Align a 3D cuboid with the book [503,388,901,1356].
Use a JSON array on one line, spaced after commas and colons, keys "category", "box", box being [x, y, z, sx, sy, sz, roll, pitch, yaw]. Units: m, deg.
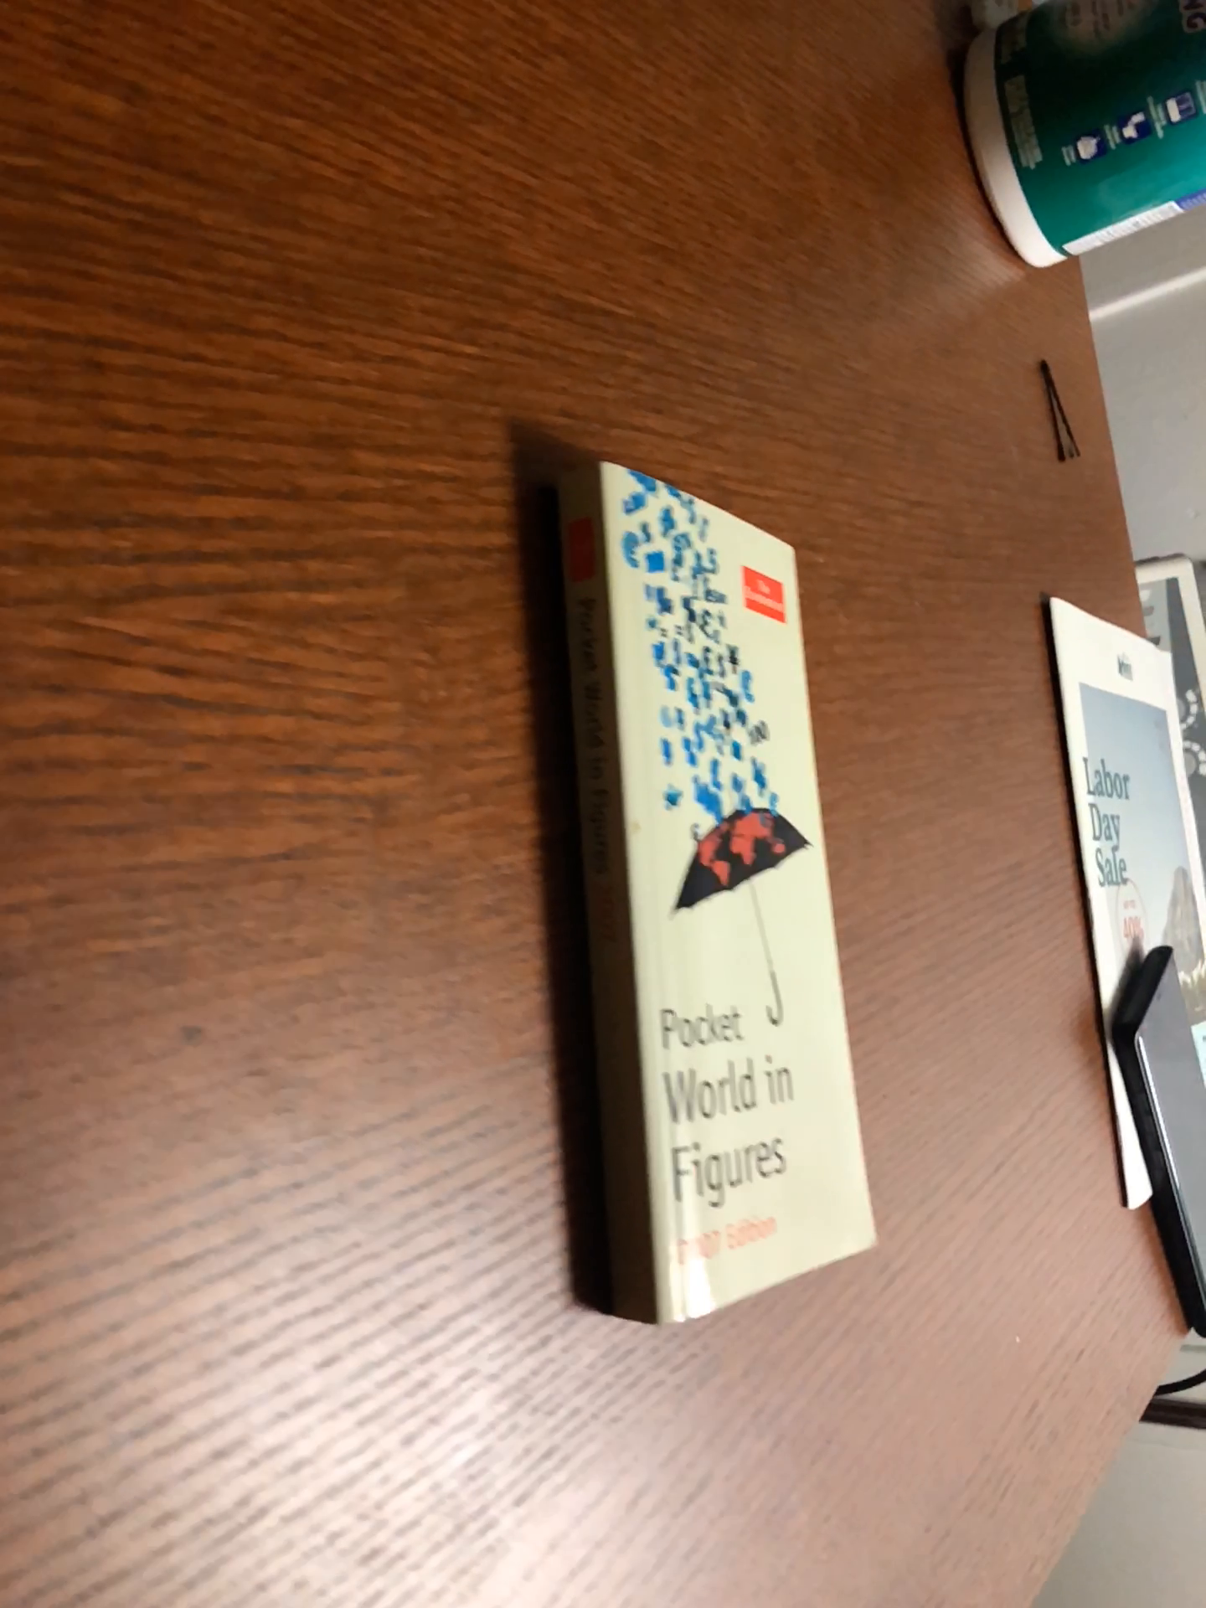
[{"category": "book", "box": [0.026, 0.014, 0.321, 0.100, 0.030, 0.200, 7, 76, -52]}]
